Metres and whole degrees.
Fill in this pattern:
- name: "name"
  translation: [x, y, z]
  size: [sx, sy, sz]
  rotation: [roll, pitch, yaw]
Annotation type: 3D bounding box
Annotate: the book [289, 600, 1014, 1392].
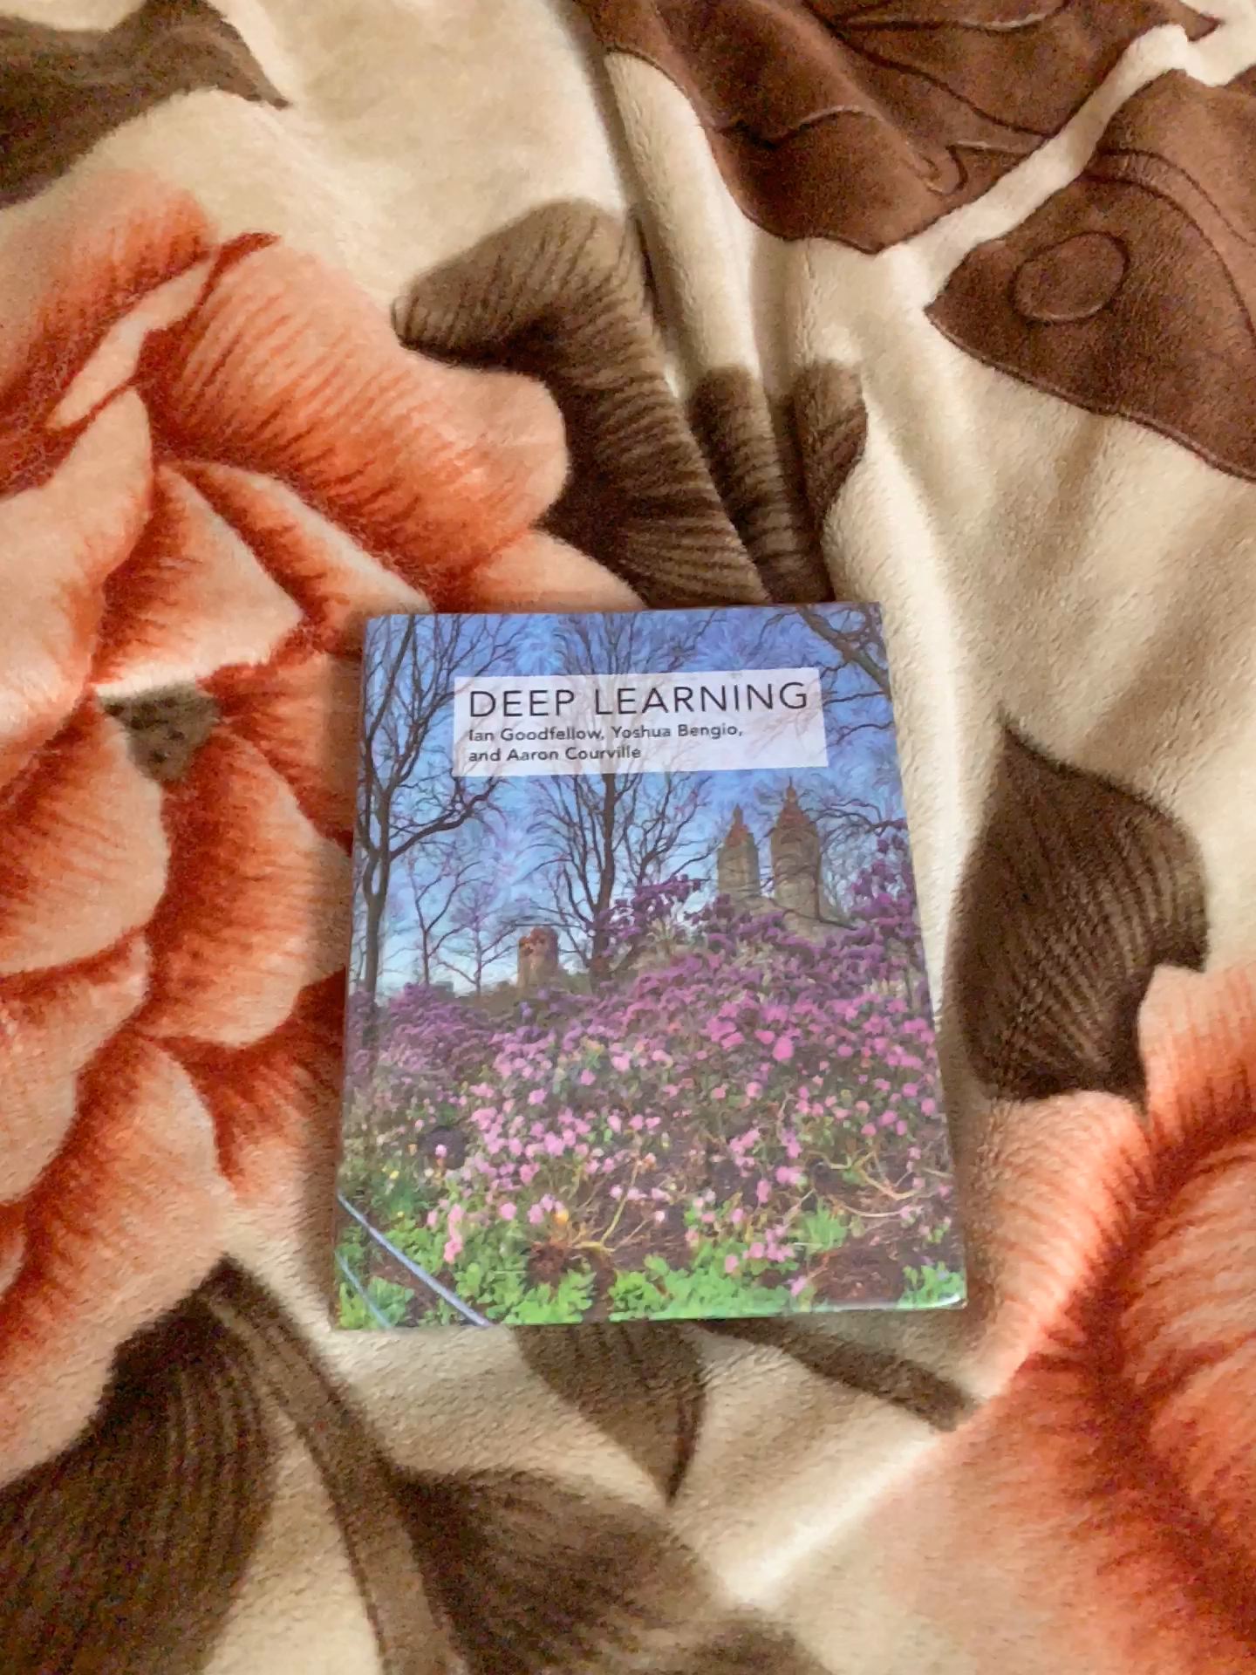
- name: "book"
  translation: [0.003, 0.041, 0.436]
  size: [0.210, 0.030, 0.261]
  rotation: [-1, 68, -3]
